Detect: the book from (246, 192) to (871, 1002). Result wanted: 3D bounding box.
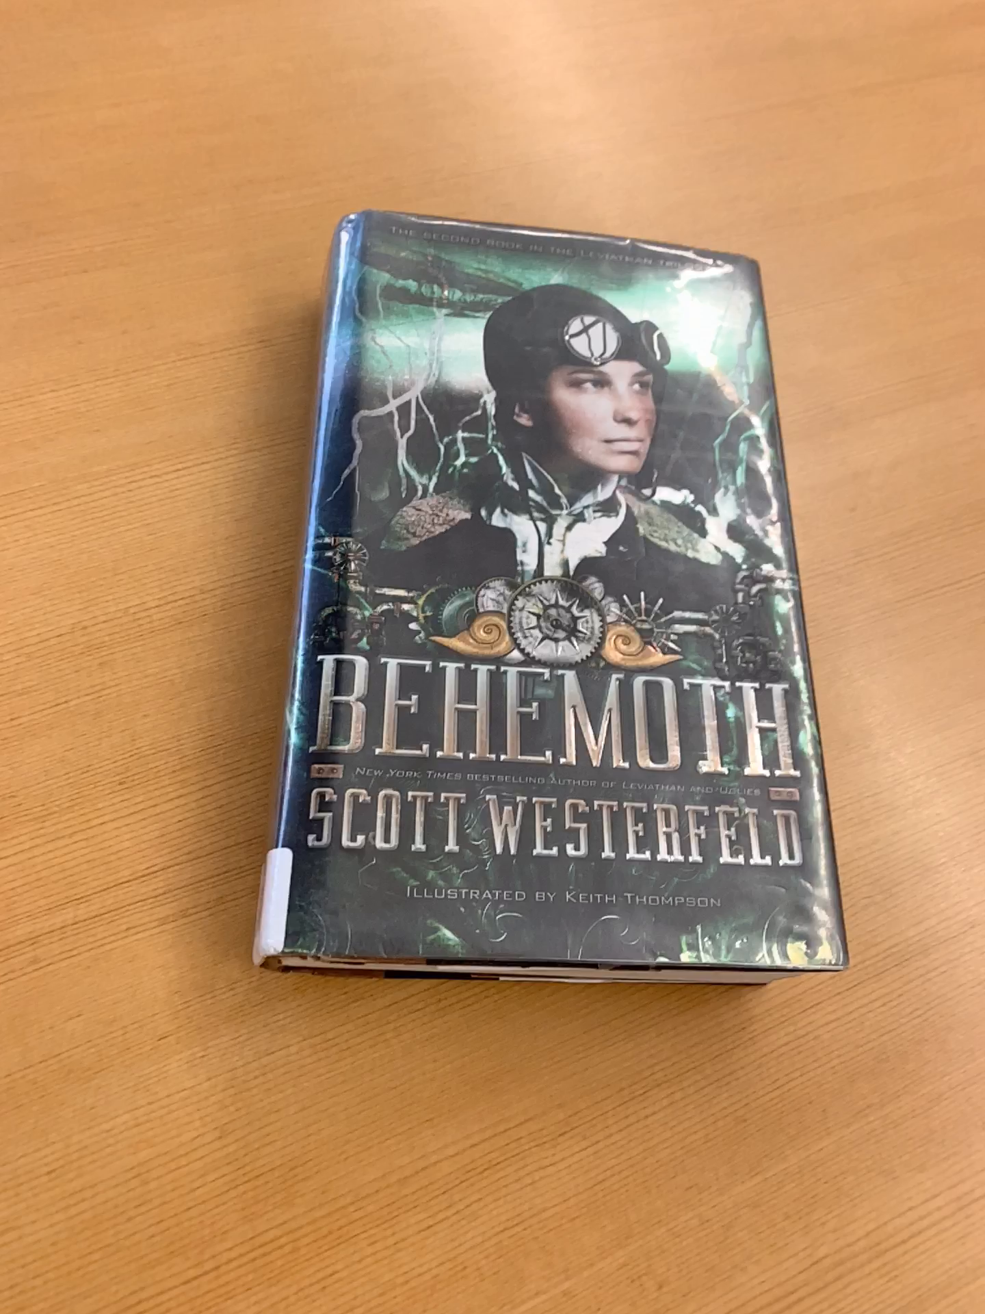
[{"bbox_3d":[0.016,-0.025,0.311,0.150,0.050,0.241,3,66,-7],"label":"book"}]
